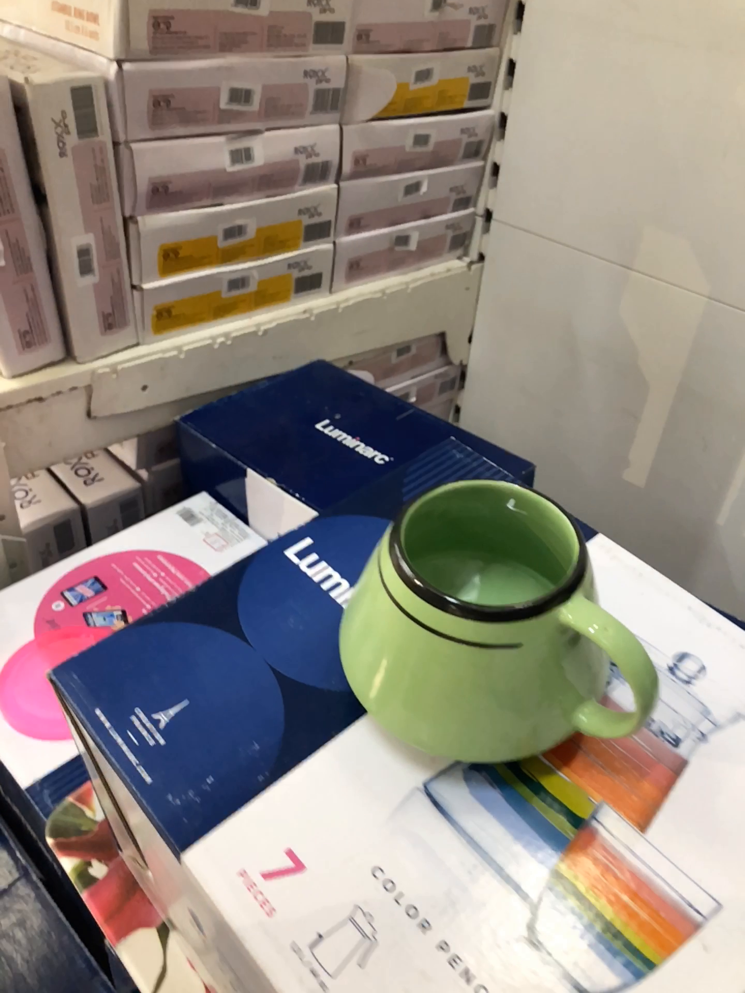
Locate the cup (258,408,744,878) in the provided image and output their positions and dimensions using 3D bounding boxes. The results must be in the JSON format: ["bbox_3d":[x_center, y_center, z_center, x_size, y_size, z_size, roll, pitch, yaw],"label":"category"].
[{"bbox_3d":[0.042,0.041,0.316,0.111,0.070,0.140,-23,45,-34],"label":"cup"}]
